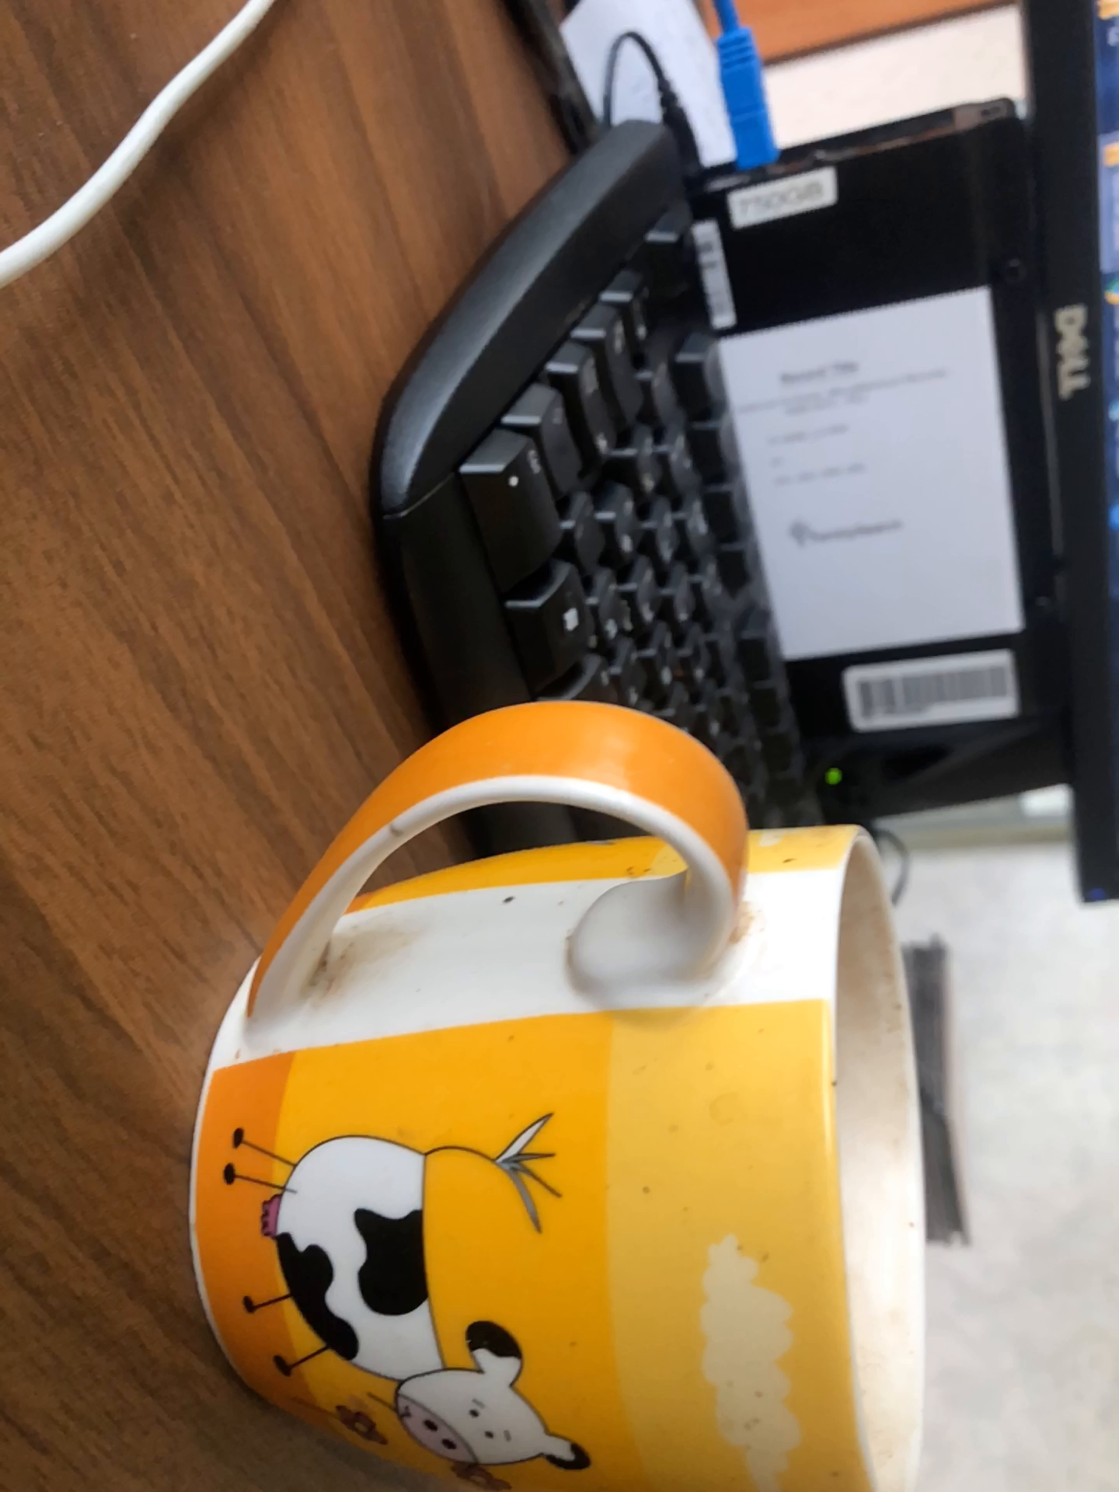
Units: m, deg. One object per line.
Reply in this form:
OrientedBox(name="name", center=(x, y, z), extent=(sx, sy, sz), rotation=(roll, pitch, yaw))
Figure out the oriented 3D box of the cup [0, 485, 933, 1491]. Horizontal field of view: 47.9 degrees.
OrientedBox(name="cup", center=(-0.001, 0.050, 0.189), extent=(0.093, 0.095, 0.135), rotation=(-70, 148, -49))
